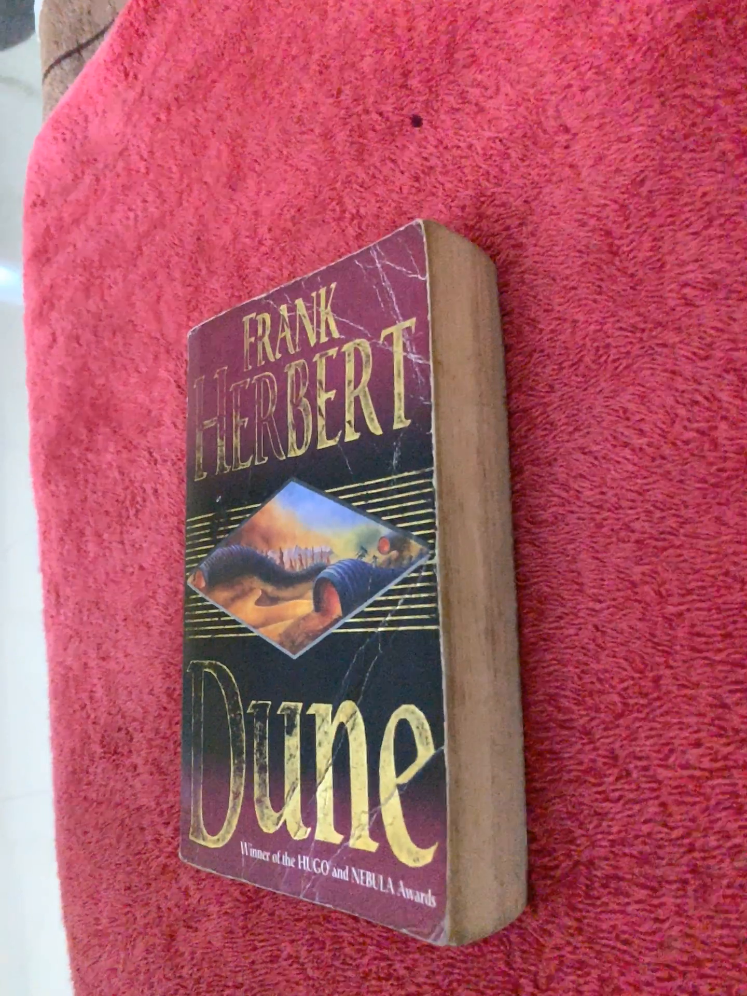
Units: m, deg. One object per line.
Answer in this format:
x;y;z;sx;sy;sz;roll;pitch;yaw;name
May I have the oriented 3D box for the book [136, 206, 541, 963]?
-0.017;0.022;0.223;0.115;0.039;0.165;-12;74;43;book
